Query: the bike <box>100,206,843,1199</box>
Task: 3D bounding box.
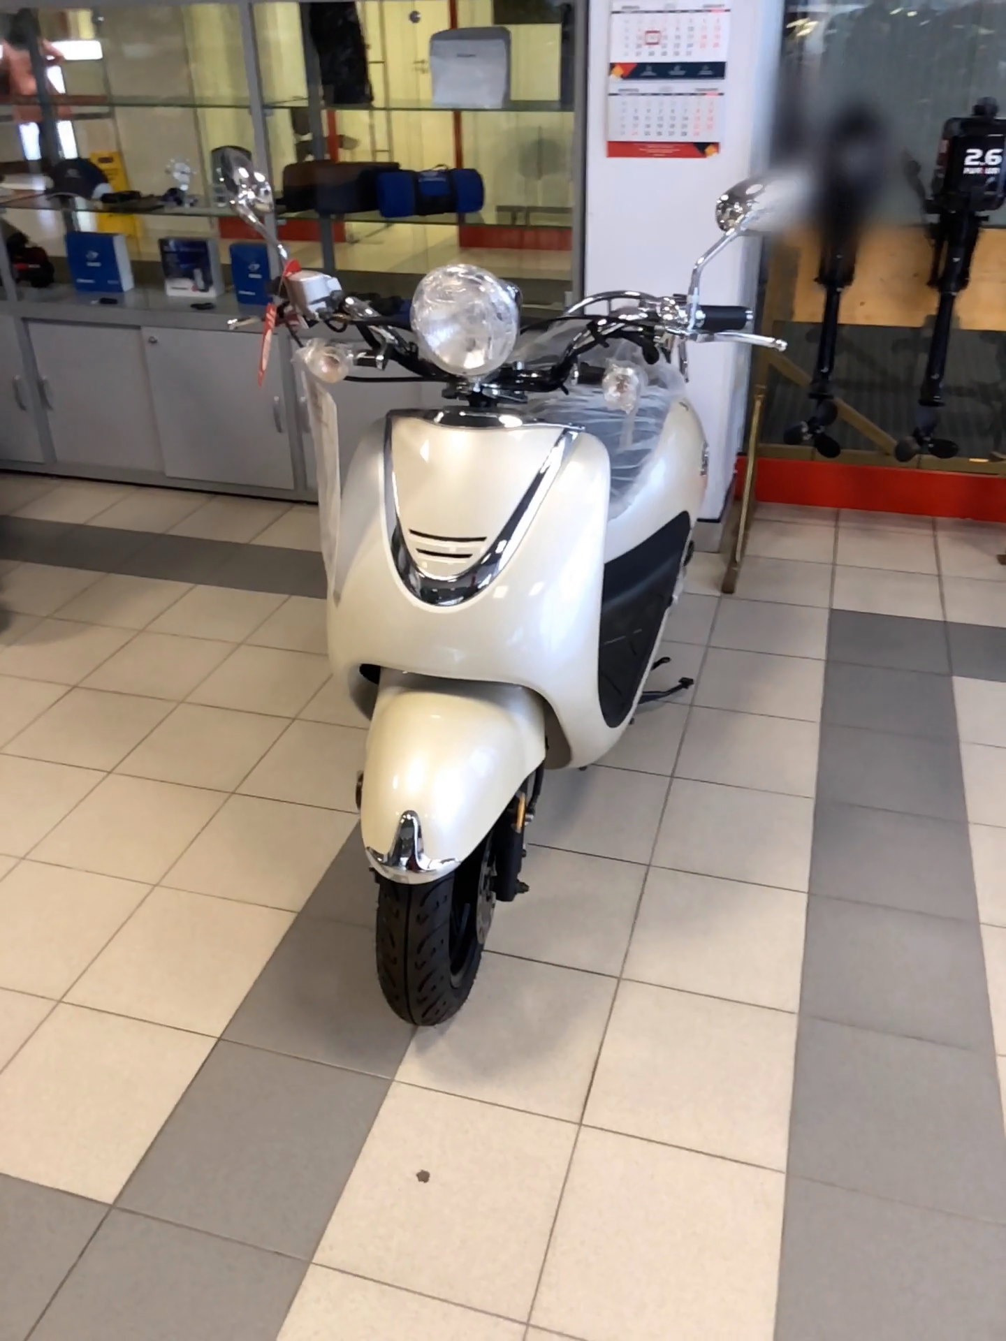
[{"bbox_3d":[0.138,-0.192,2.107,0.805,0.963,1.691,8,34,15],"label":"bike"}]
